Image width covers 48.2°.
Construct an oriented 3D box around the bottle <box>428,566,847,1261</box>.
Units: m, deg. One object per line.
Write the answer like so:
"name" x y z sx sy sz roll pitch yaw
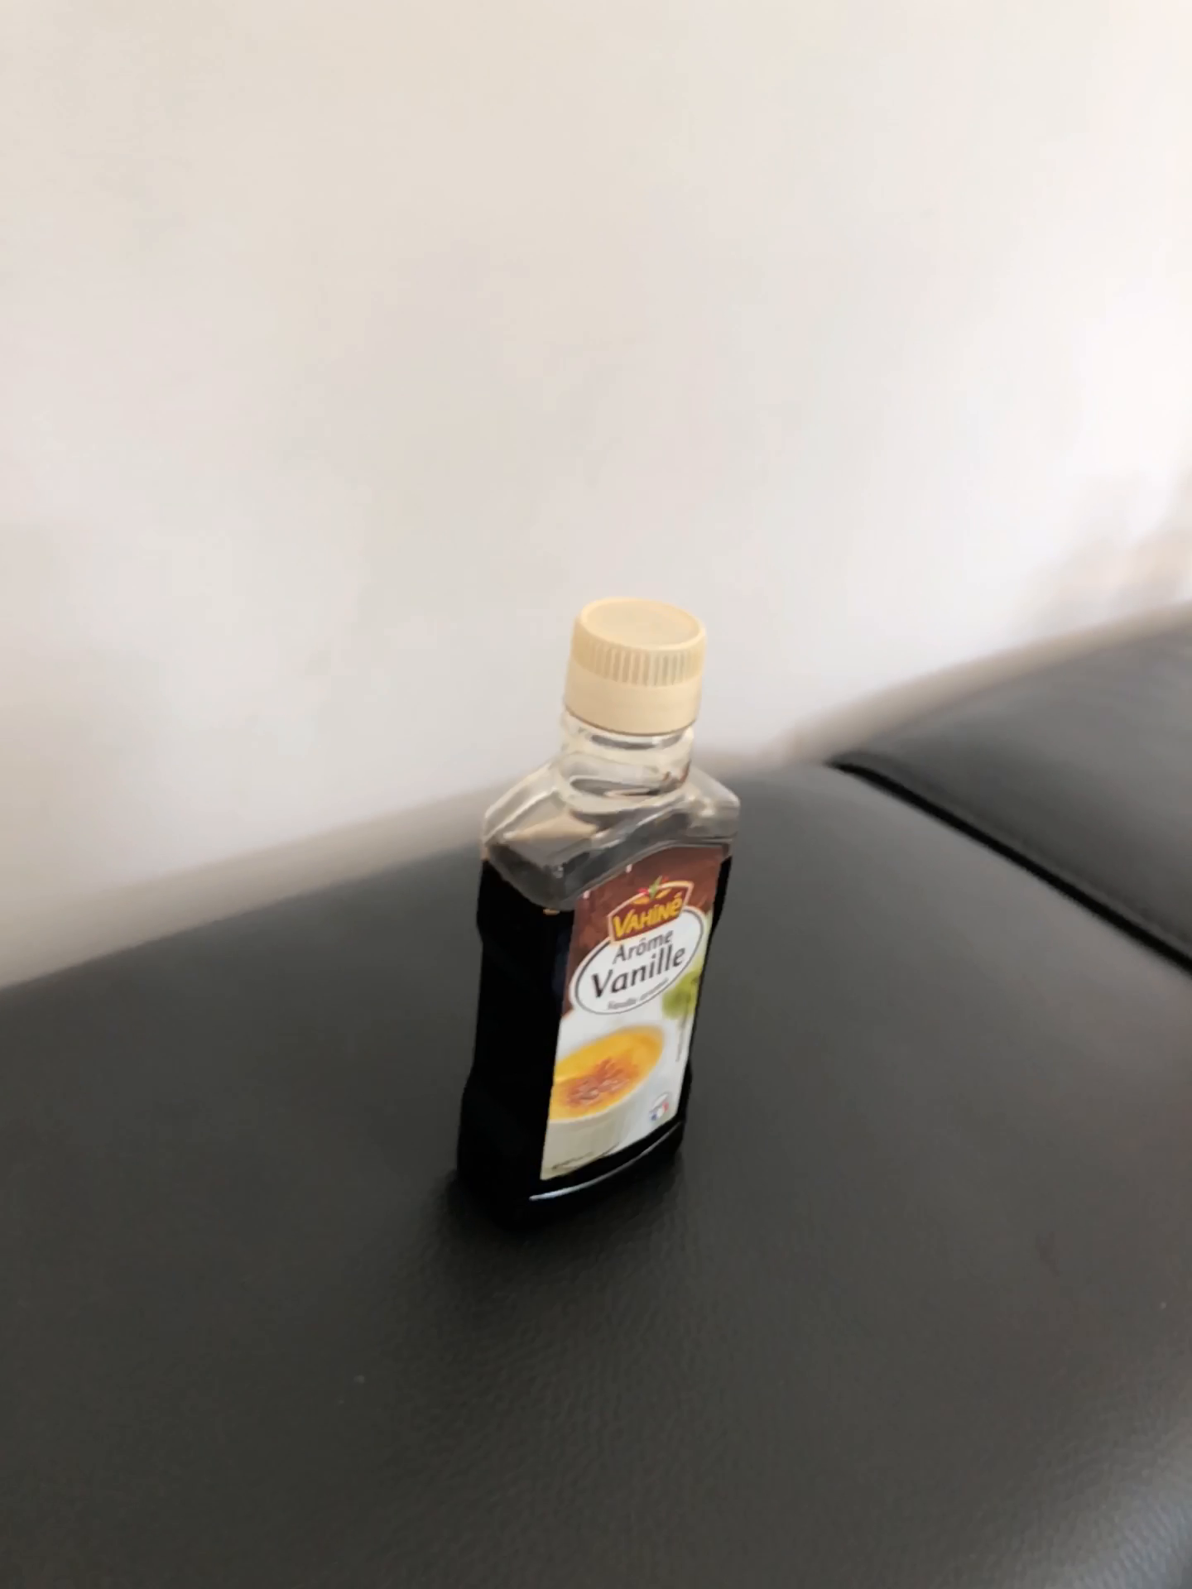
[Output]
"bottle" 0.006 0.030 0.328 0.070 0.159 0.040 -15 36 -38
